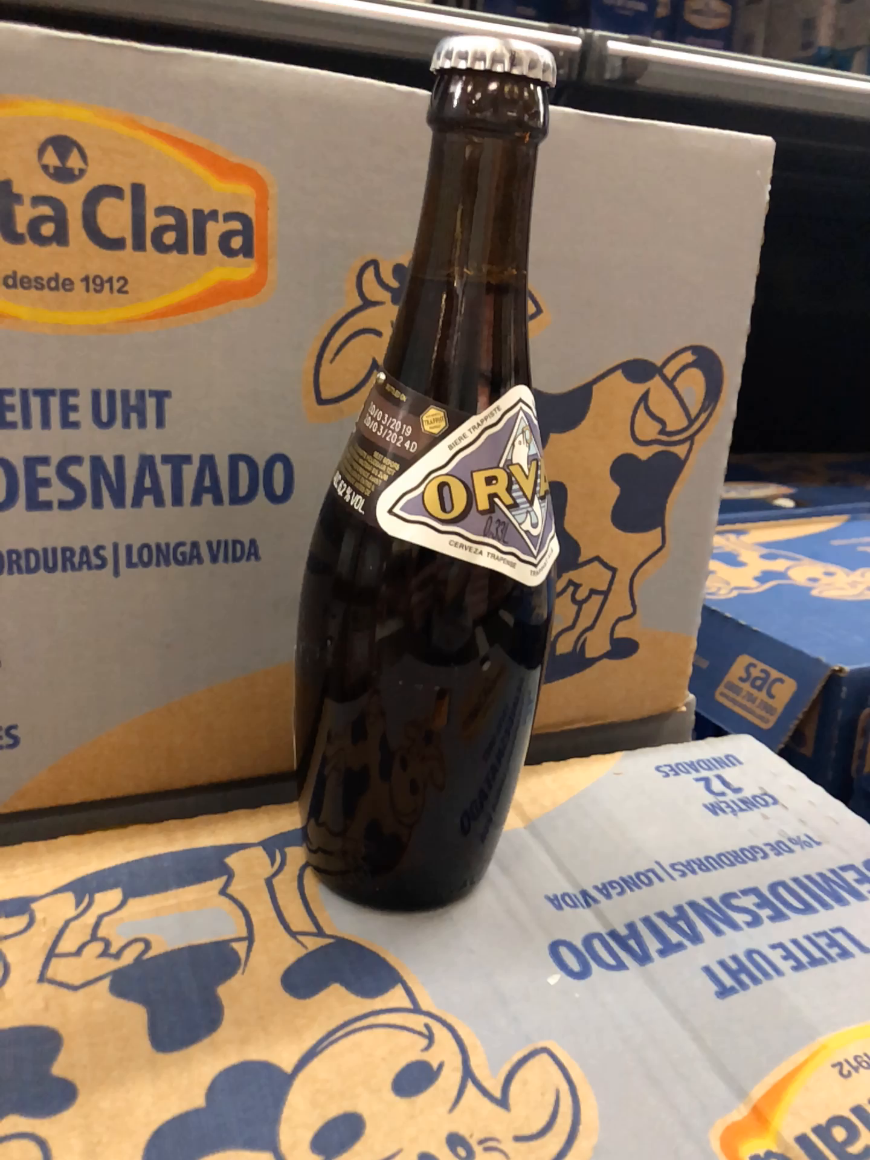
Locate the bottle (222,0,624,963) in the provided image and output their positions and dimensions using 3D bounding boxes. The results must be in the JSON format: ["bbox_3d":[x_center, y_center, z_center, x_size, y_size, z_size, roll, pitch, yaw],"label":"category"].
[{"bbox_3d":[-0.005,-0.023,0.246,0.060,0.209,0.070,14,20,34],"label":"bottle"}]
